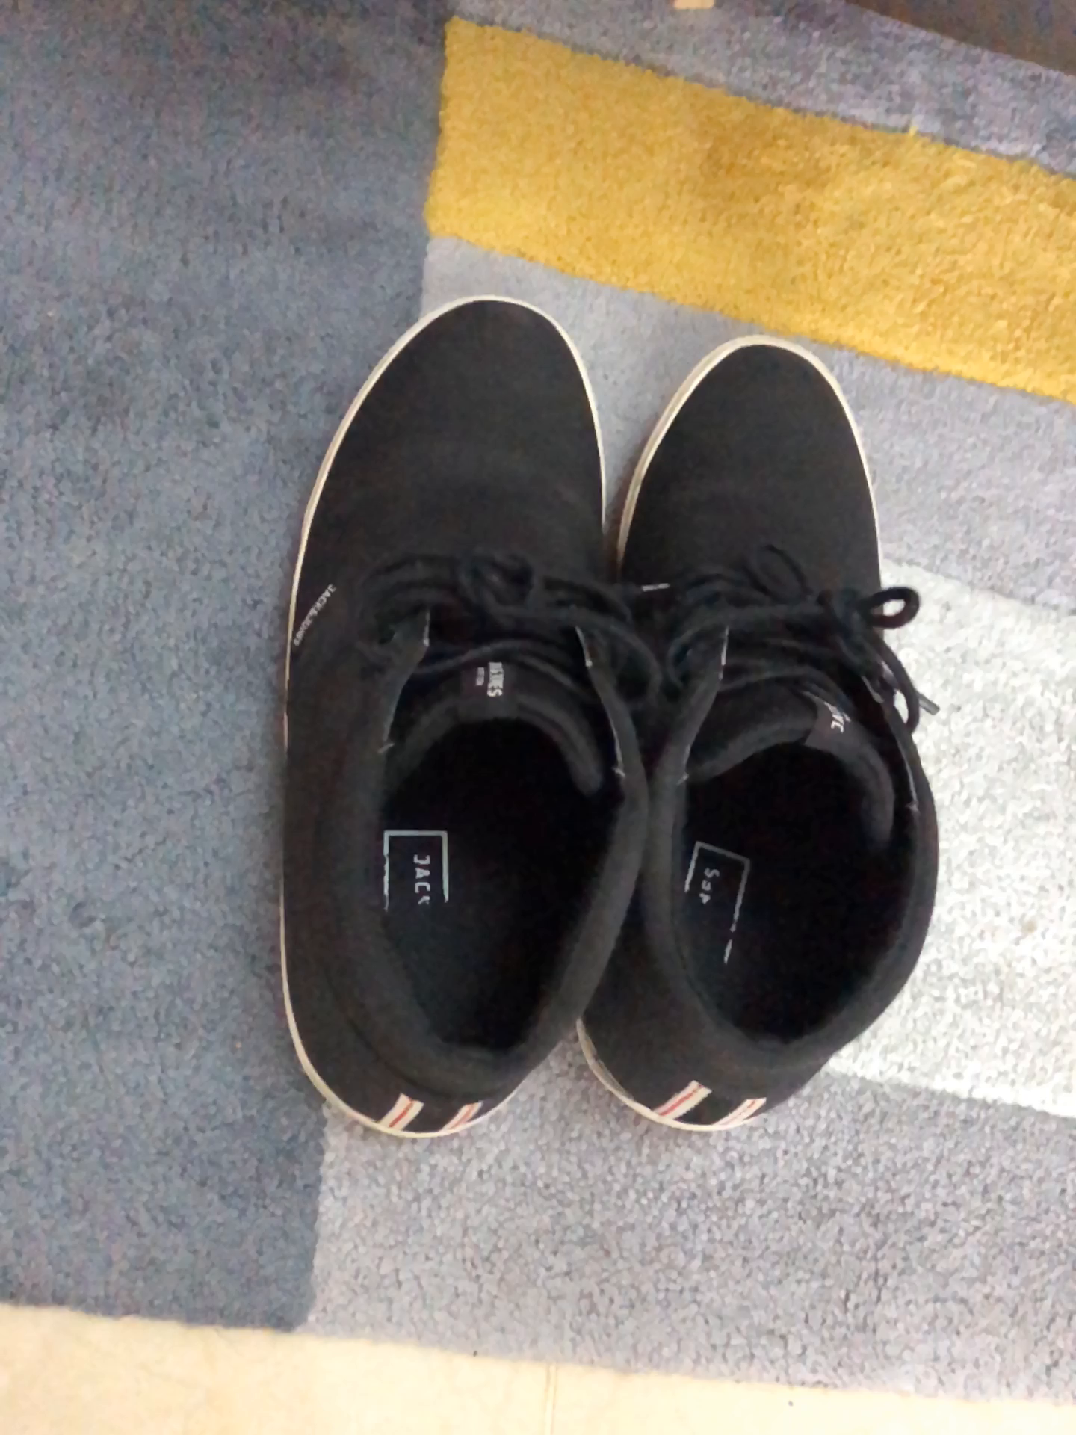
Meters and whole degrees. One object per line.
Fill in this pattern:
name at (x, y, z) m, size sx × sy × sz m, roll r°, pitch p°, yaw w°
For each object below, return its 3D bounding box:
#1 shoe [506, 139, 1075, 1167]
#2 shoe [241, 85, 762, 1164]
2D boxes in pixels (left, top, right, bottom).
shoe at (0.077, -0.014, 0.379) m, size 0.110 × 0.129 × 0.281 m, roll 12°, pitch 68°, yaw -10°
shoe at (-0.012, -0.022, 0.347) m, size 0.110 × 0.110 × 0.281 m, roll 7°, pitch 69°, yaw -12°
